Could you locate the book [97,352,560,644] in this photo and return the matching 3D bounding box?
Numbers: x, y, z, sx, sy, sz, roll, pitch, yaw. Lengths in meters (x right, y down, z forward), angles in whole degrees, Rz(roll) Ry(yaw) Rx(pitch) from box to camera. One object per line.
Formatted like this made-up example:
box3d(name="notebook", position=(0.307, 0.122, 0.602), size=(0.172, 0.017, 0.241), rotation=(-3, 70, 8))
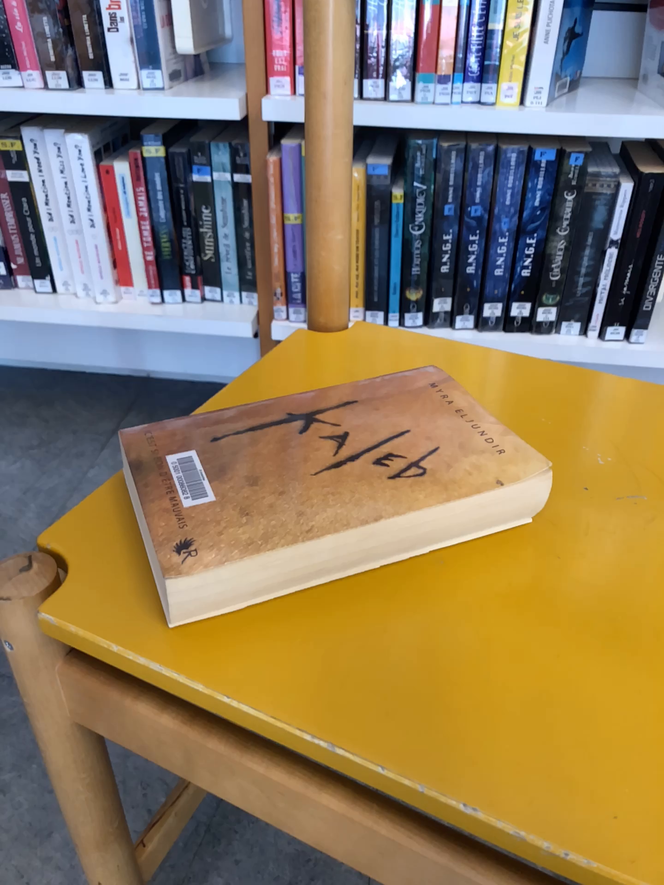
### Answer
box3d(name="book", position=(-0.009, 0.016, 0.426), size=(0.224, 0.043, 0.150), rotation=(-12, 36, -18))
